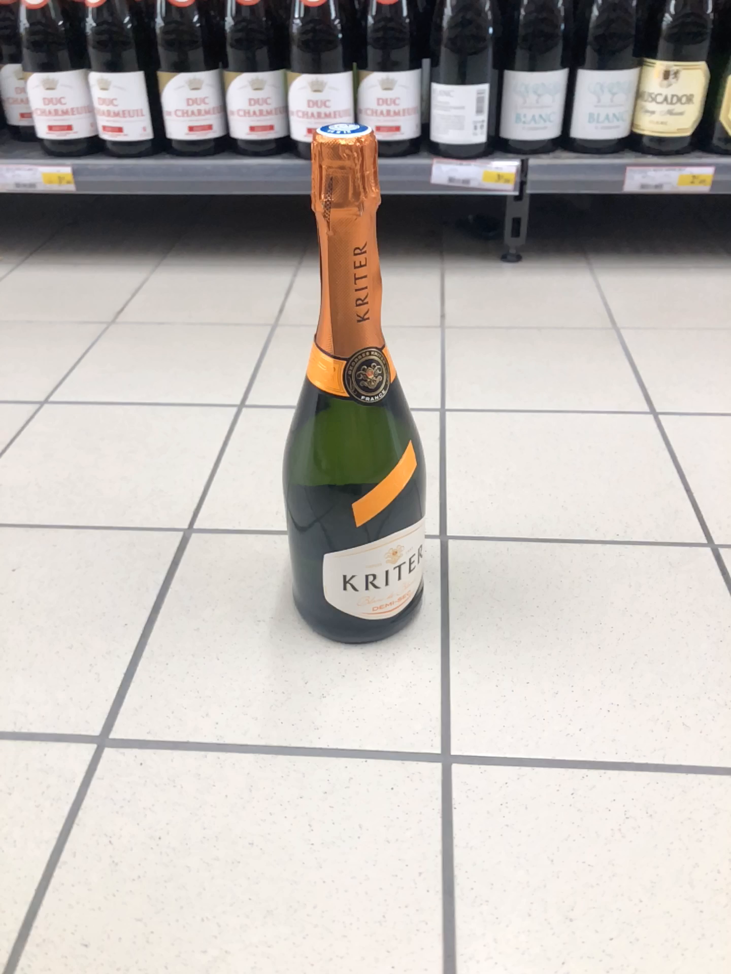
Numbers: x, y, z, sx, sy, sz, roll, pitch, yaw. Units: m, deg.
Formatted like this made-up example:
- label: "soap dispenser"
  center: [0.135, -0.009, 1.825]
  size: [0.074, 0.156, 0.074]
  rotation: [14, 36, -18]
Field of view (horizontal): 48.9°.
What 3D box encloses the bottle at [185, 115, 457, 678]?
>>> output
- label: "bottle"
  center: [-0.022, -0.046, 0.486]
  size: [0.100, 0.308, 0.100]
  rotation: [-1, 33, 1]
